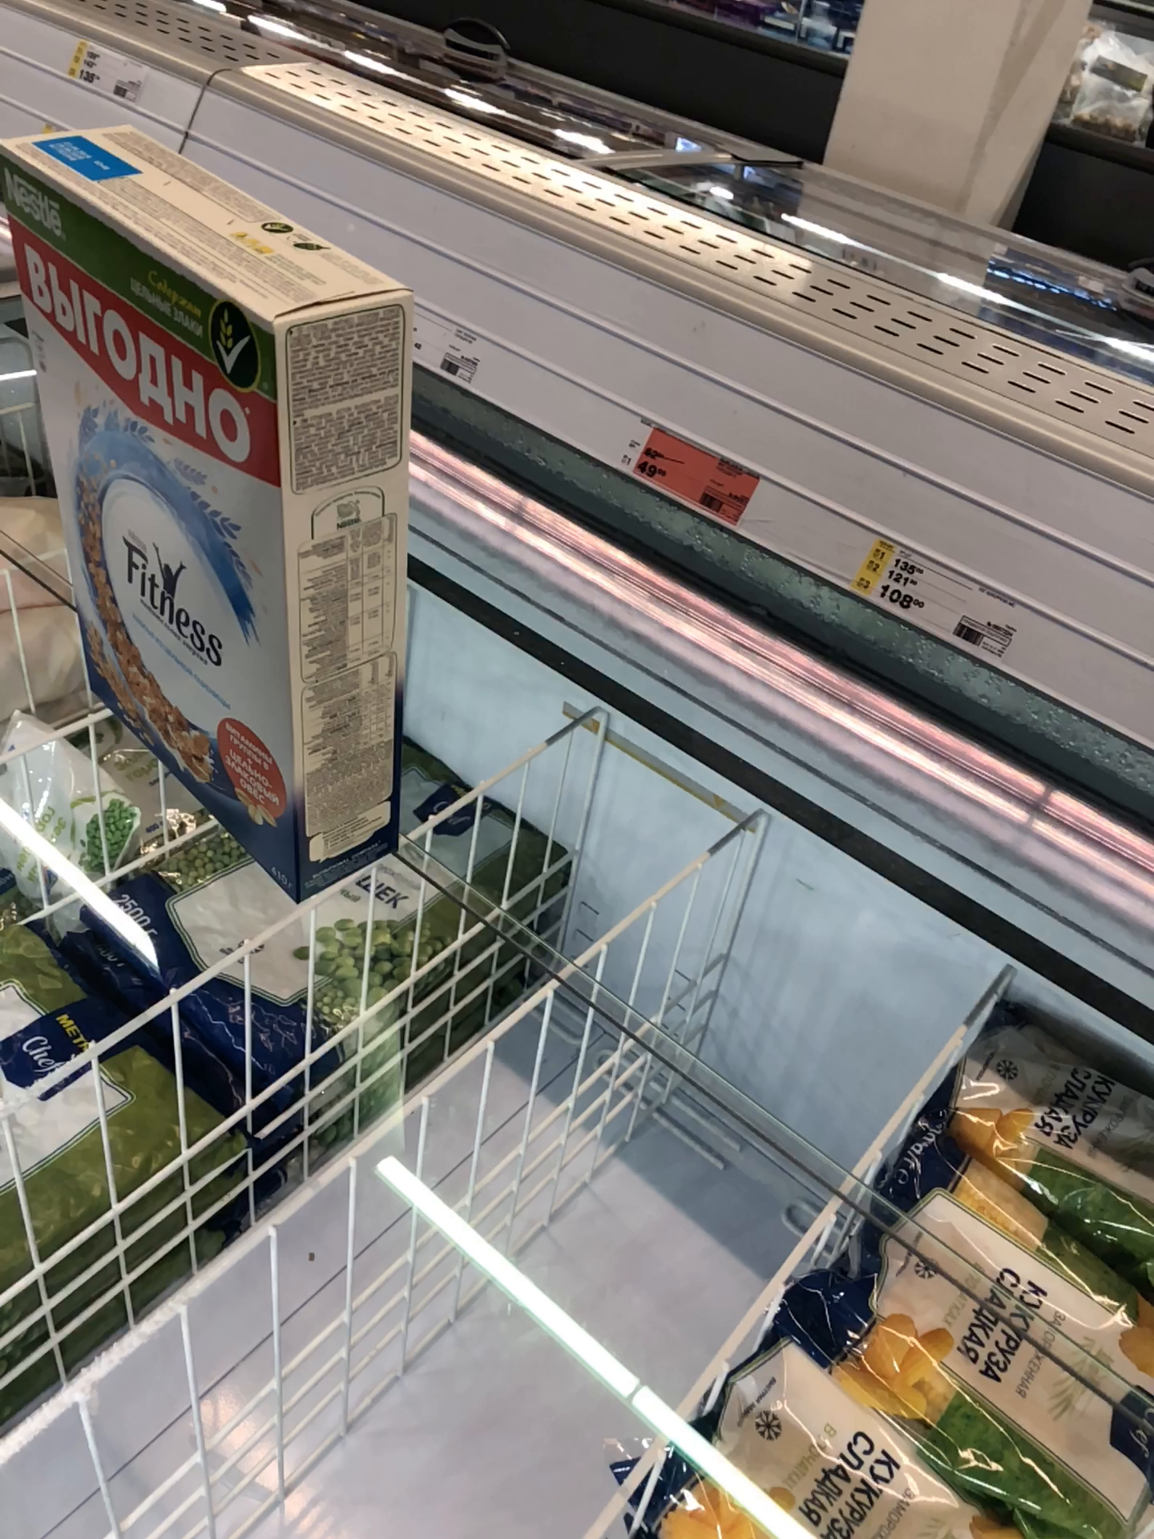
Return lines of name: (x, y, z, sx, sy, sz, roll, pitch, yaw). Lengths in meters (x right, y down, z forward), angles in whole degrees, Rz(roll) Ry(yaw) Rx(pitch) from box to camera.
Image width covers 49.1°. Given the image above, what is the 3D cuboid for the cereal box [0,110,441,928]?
cereal box: (-0.148, -0.099, 0.527, 0.060, 0.268, 0.201, -27, 52, -34)
